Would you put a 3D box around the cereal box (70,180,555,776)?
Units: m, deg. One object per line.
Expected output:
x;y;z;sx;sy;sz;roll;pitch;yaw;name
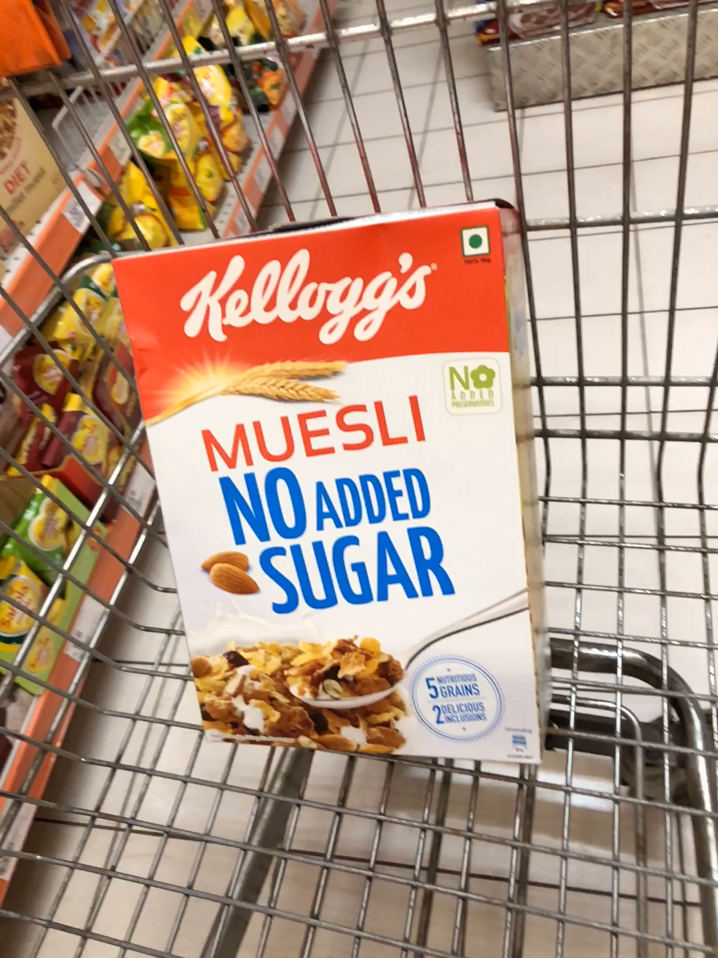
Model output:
-0.010;0.005;0.388;0.190;0.259;0.070;-2;18;17;cereal box
